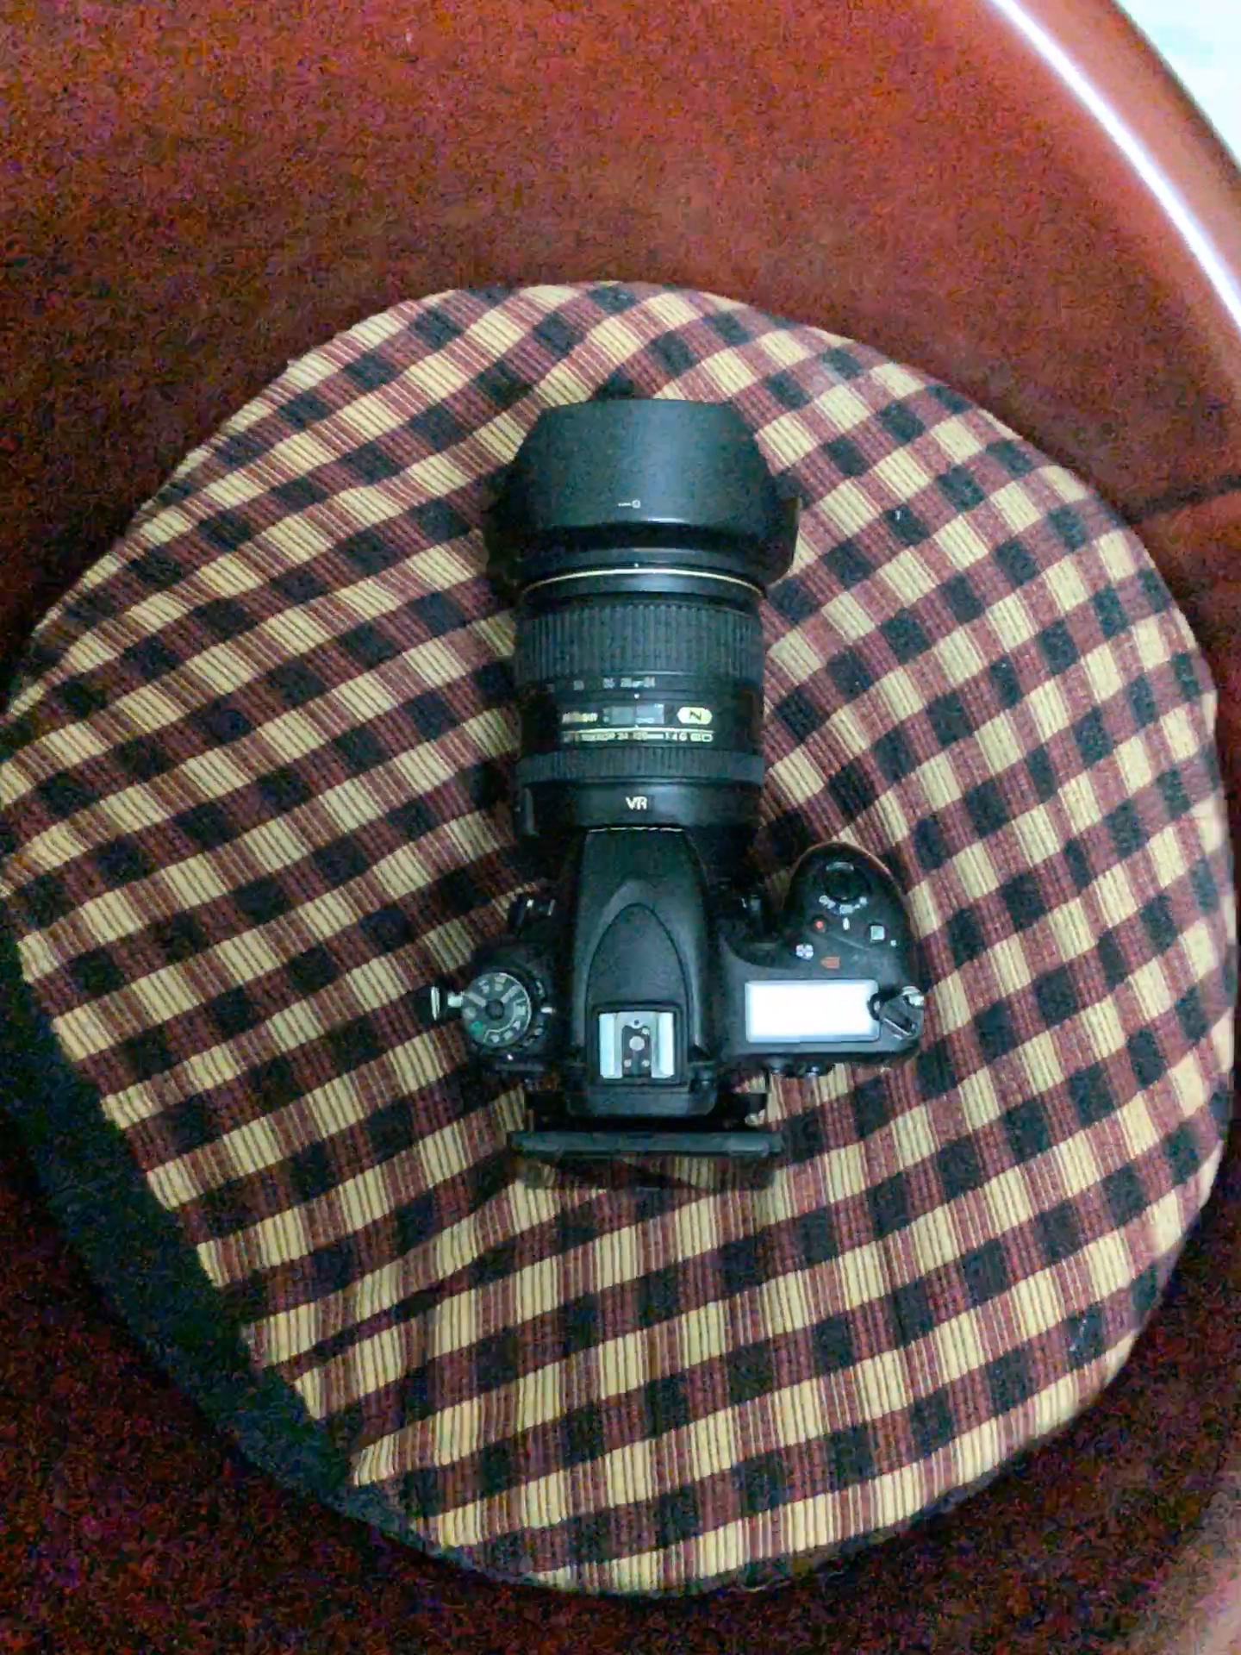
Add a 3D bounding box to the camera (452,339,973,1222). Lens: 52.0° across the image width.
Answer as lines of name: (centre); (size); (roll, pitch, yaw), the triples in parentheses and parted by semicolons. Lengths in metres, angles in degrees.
camera: (0.028, -0.012, 0.410); (0.140, 0.102, 0.250); (0, 82, 4)
